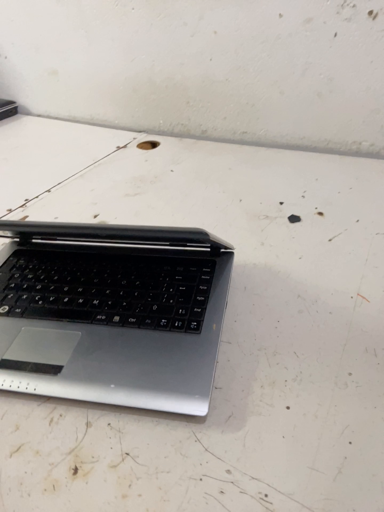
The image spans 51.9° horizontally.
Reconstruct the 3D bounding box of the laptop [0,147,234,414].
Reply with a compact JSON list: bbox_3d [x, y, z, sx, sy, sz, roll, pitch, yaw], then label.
[{"bbox_3d":[-0.134,0.000,0.436,0.333,0.152,0.242,4,37,11],"label":"laptop"}]
